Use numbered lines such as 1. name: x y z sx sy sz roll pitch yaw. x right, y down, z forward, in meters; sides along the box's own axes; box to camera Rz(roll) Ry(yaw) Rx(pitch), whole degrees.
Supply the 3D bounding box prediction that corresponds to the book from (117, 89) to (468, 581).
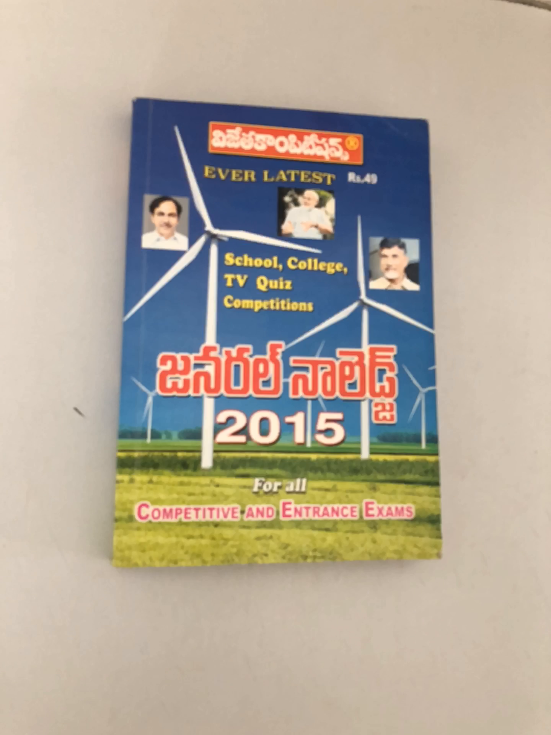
1. book: 0.007 -0.014 0.241 0.129 0.022 0.182 1 82 -9
